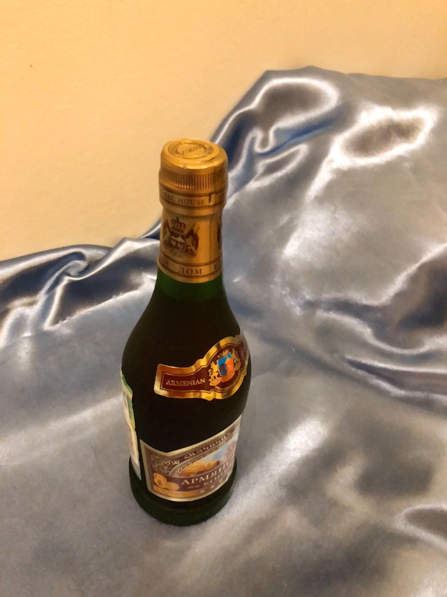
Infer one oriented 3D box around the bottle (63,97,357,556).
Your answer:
[{"bbox_3d":[-0.015,0.036,0.267,0.074,0.247,0.080,4,44,-4],"label":"bottle"}]
